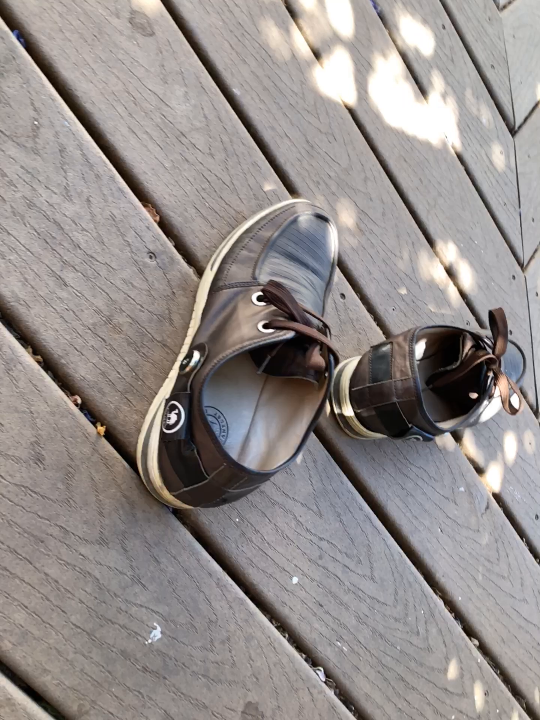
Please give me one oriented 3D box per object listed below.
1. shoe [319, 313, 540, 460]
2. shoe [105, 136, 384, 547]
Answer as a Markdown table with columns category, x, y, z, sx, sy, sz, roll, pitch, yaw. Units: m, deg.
| category | x | y | z | sx | sy | sz | roll | pitch | yaw |
| --- | --- | --- | --- | --- | --- | --- | --- | --- | --- |
| shoe | 0.195 | 0.019 | 0.592 | 0.286 | 0.099 | 0.110 | -4 | 83 | -38 |
| shoe | -0.006 | -0.019 | 0.457 | 0.111 | 0.069 | 0.286 | 33 | 62 | -28 |
